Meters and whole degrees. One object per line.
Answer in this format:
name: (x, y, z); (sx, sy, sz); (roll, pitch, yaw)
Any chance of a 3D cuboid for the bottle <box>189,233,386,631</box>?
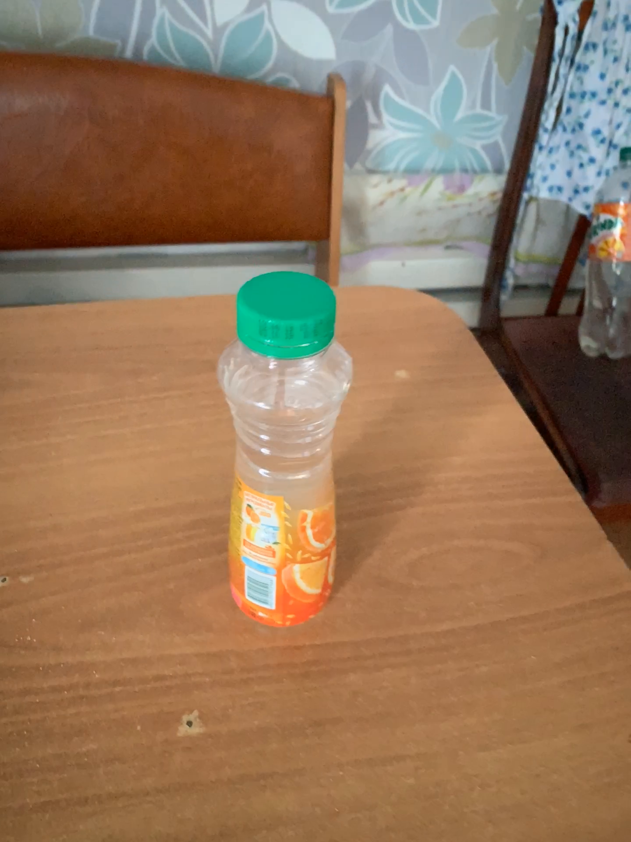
bottle: (-0.019, 0.017, 0.325); (0.070, 0.200, 0.071); (2, 42, -2)
